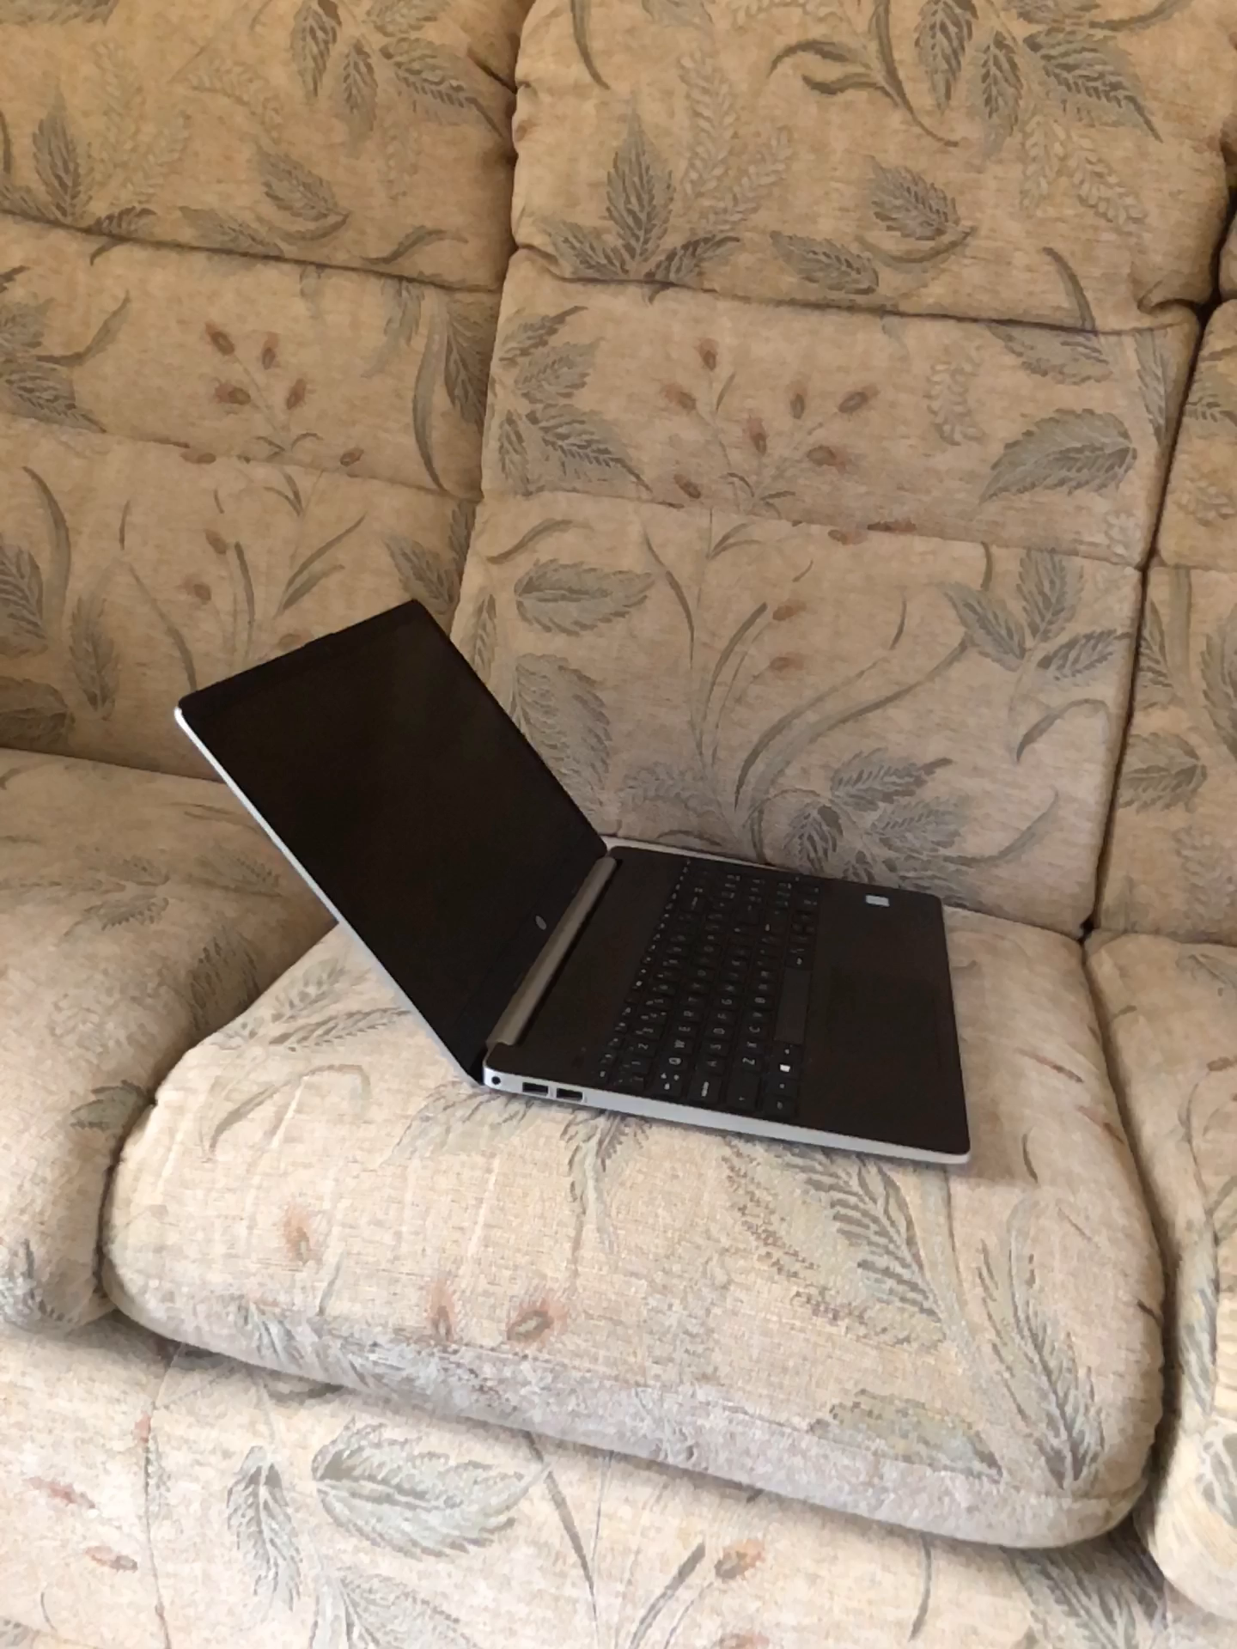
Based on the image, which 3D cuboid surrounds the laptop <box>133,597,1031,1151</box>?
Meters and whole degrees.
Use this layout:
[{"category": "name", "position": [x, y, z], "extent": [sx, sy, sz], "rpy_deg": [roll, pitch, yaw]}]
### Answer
[{"category": "laptop", "position": [0.006, -0.001, 0.783], "extent": [0.397, 0.163, 0.340], "rpy_deg": [8, 20, 8]}]
